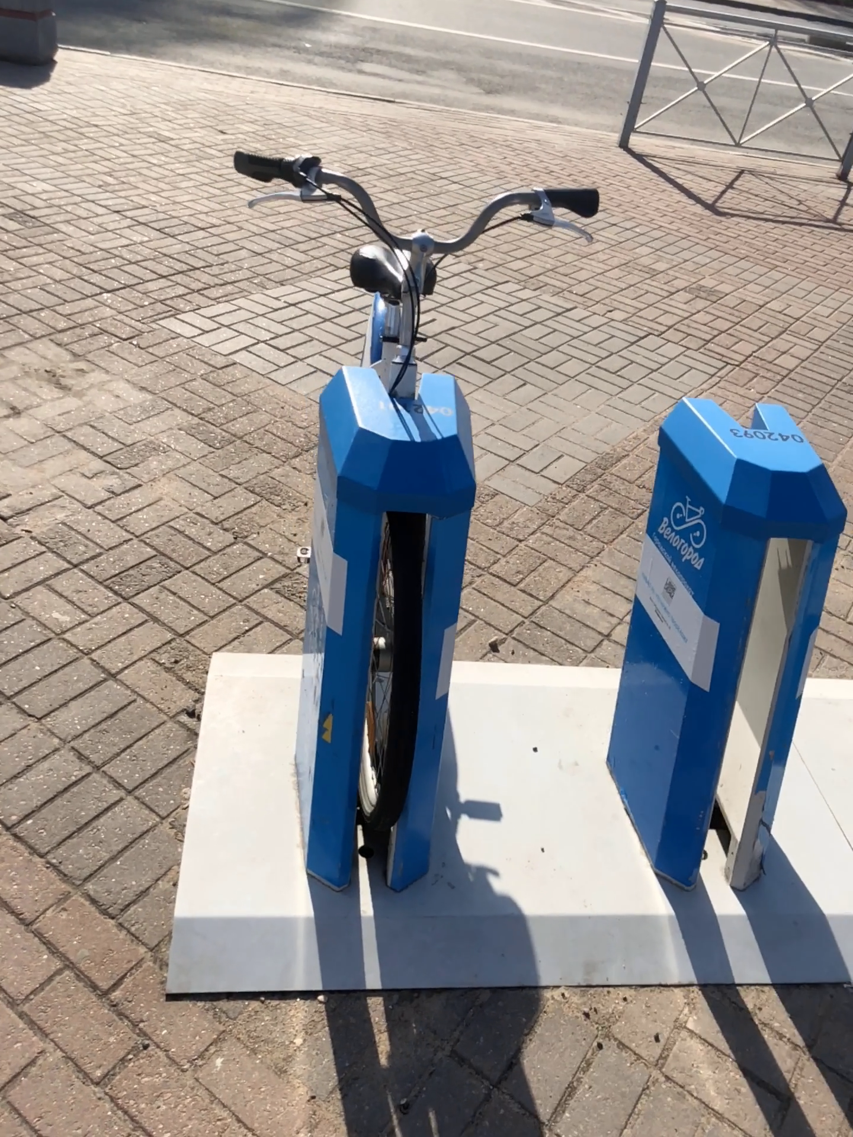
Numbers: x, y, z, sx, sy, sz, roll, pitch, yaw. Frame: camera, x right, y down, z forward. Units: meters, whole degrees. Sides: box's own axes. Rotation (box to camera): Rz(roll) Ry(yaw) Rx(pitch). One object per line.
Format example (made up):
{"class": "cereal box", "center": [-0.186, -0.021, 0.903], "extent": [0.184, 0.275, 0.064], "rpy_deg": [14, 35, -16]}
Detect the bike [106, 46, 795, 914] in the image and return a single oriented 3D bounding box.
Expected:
{"class": "bike", "center": [-0.113, -0.334, 1.982], "extent": [0.681, 1.233, 1.684], "rpy_deg": [5, 33, -8]}
